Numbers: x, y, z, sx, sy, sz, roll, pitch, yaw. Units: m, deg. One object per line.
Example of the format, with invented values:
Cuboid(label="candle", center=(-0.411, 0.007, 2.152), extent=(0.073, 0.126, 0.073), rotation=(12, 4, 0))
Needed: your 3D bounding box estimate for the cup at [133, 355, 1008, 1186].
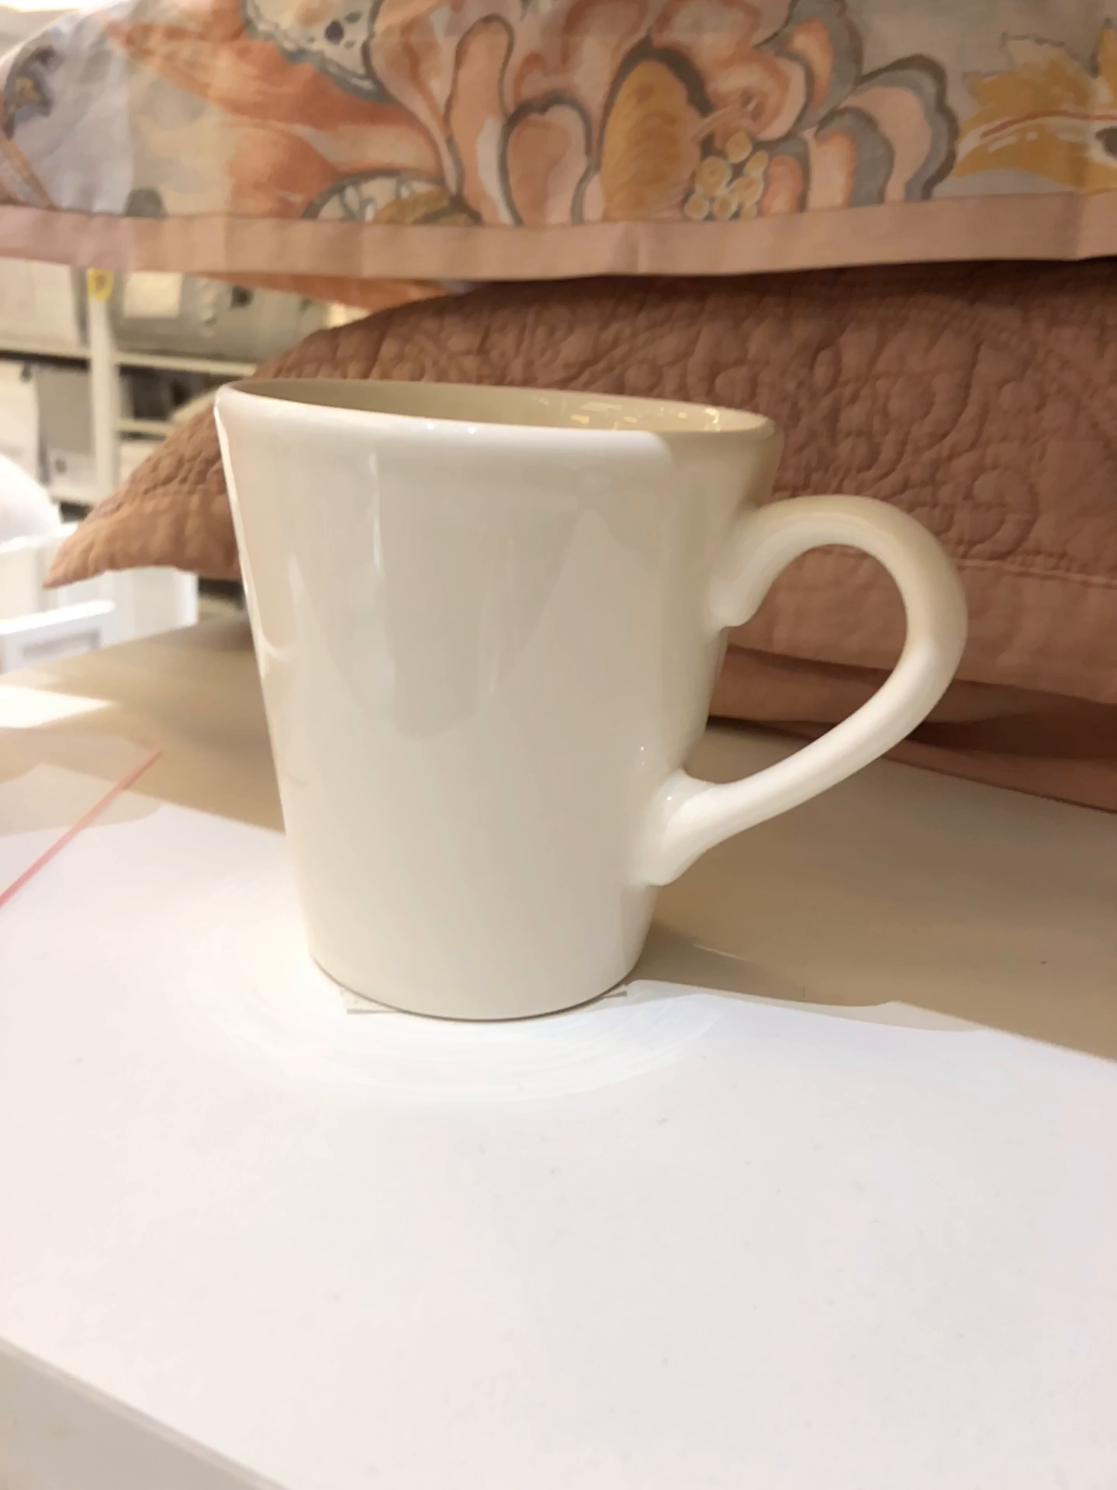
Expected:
Cuboid(label="cup", center=(0.005, -0.007, 0.204), extent=(0.110, 0.099, 0.080), rotation=(8, 19, 14))
